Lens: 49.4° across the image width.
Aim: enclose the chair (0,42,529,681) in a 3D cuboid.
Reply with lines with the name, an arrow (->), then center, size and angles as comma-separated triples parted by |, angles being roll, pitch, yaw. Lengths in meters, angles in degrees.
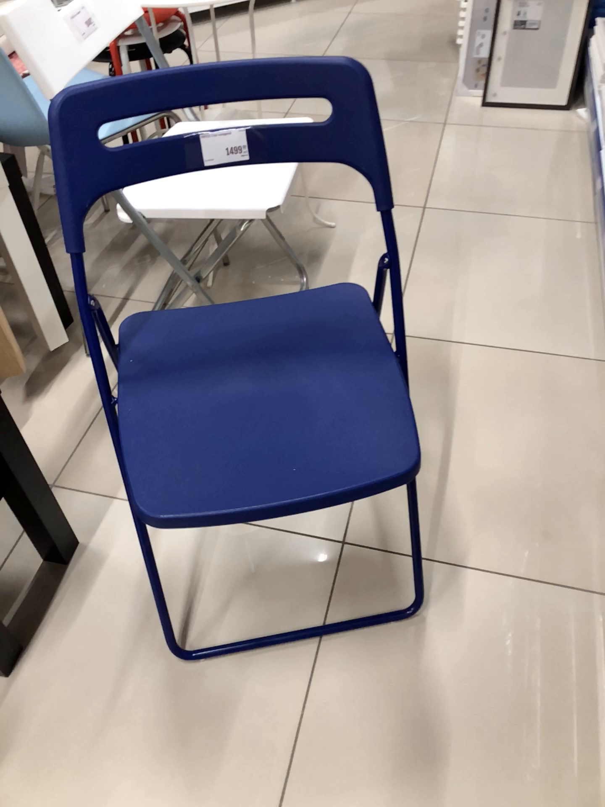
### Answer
chair -> -0.062, -0.025, 0.926 | 0.450, 0.705, 0.468 | -9, 46, -5
